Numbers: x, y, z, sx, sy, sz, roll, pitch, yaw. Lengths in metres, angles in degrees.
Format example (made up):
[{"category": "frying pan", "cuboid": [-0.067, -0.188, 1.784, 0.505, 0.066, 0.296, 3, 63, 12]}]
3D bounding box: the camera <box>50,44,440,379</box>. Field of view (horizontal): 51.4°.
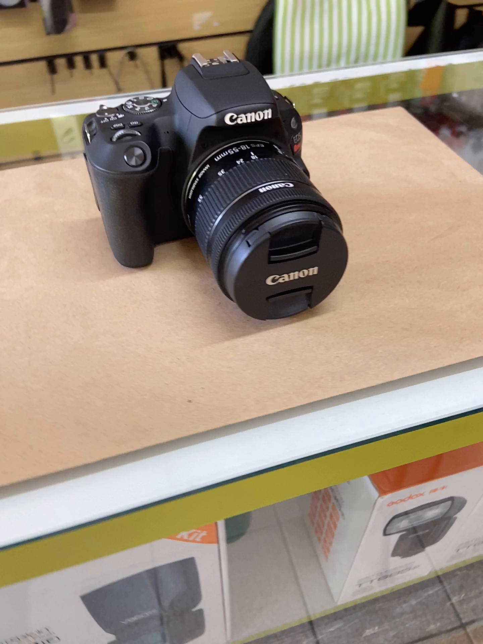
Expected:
[{"category": "camera", "cuboid": [-0.007, -0.067, 0.261, 0.140, 0.089, 0.131, -17, 46, -14]}]
